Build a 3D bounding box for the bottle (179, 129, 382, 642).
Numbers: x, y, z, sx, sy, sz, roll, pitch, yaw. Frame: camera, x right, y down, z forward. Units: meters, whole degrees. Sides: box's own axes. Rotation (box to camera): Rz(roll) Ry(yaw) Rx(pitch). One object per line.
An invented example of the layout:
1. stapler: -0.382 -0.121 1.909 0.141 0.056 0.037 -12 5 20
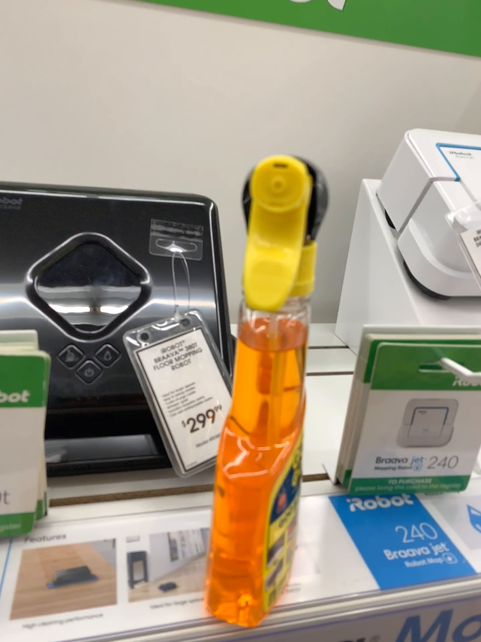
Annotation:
1. bottle: 0.019 0.030 0.243 0.050 0.226 0.100 12 22 13
